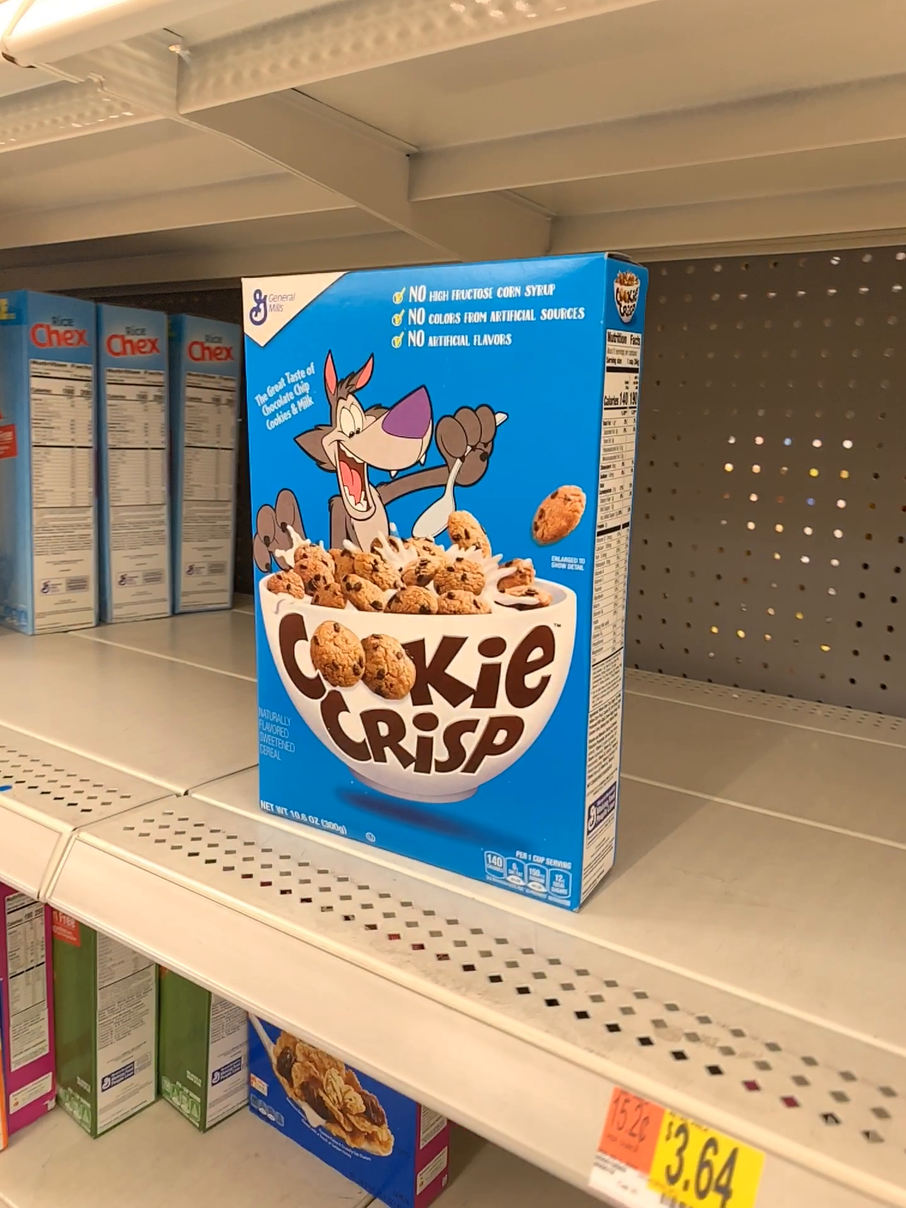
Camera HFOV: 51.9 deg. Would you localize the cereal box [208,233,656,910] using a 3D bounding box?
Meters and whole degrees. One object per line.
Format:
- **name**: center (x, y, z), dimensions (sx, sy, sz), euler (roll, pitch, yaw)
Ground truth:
- **cereal box**: center (-0.019, -0.021, 0.453), dimensions (0.210, 0.279, 0.050), euler (8, 14, 31)
